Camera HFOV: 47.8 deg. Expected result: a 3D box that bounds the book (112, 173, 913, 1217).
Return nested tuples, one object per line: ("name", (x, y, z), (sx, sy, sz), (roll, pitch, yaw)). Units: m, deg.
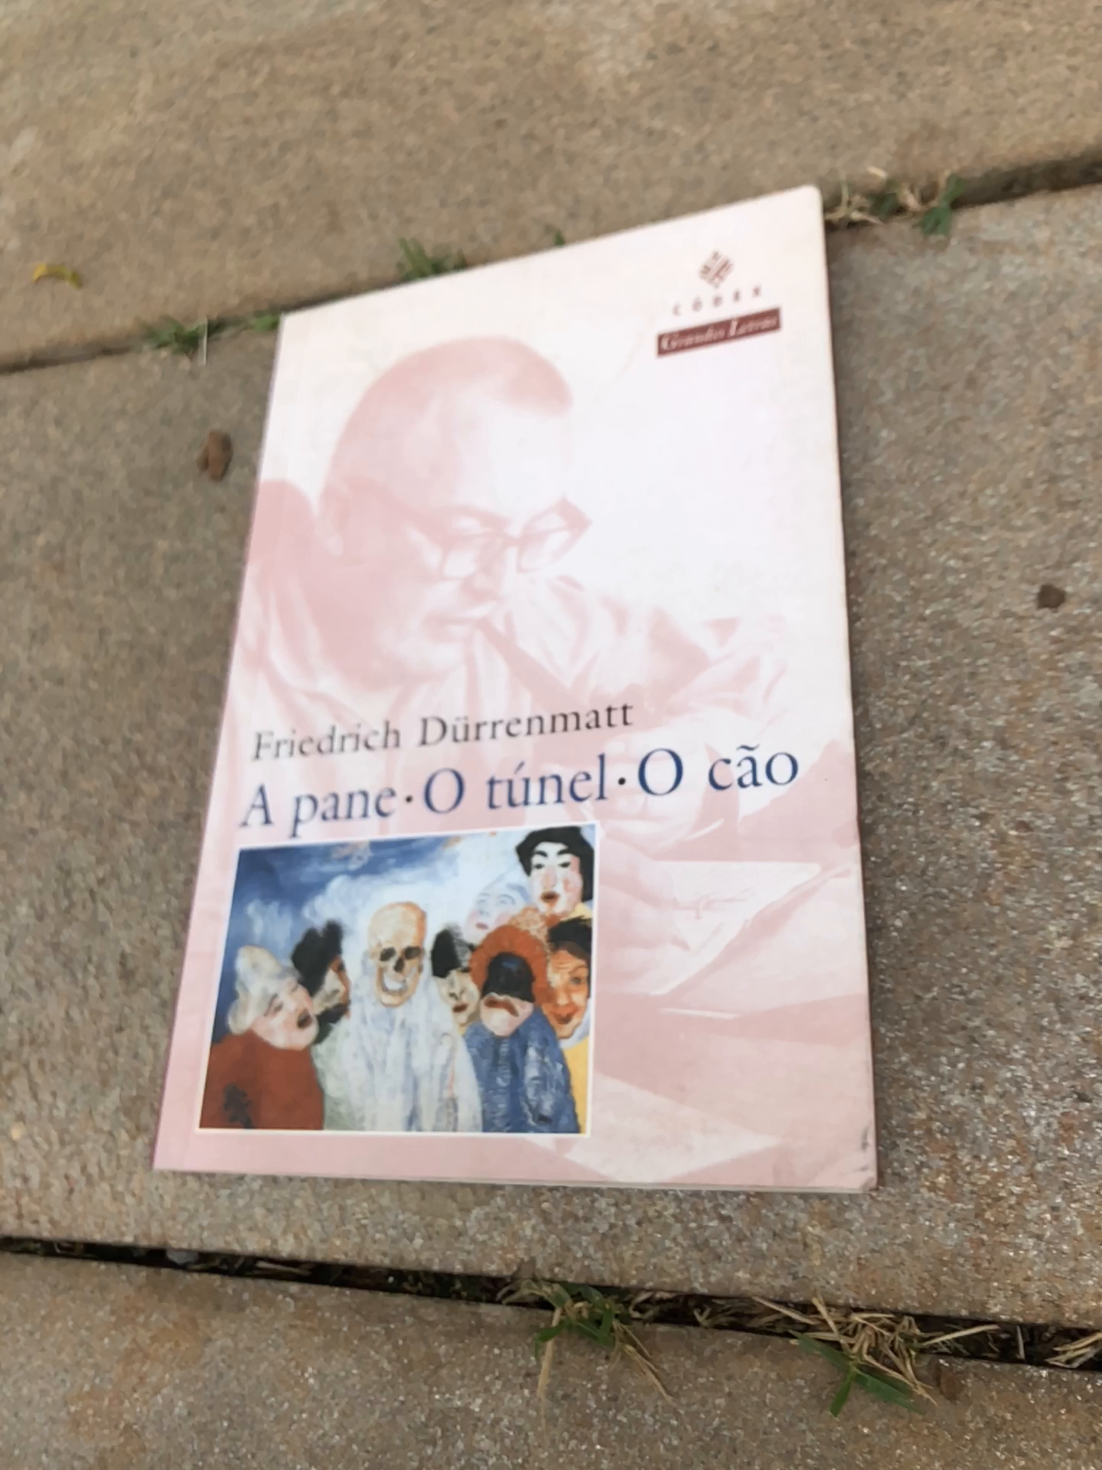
("book", (-0.008, -0.014, 0.248), (0.140, 0.015, 0.200), (-5, 67, 19))
